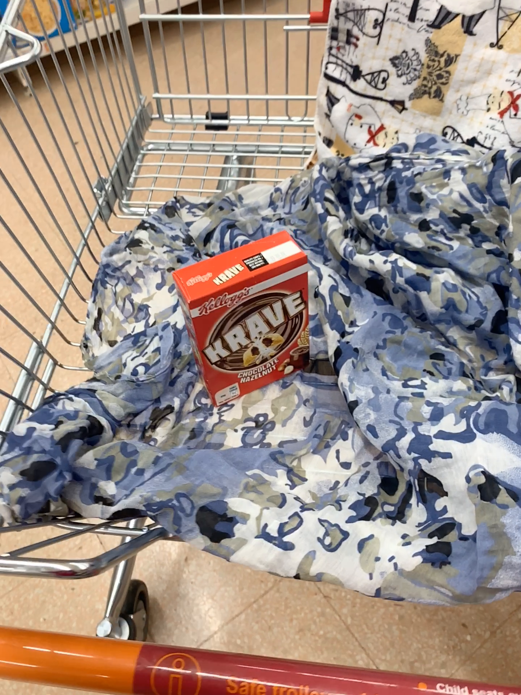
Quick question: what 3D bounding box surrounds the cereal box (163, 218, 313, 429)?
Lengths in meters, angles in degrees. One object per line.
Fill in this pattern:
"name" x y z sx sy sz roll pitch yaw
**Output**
"cereal box" -0.011 -0.012 0.407 0.090 0.149 0.040 -23 52 -14
